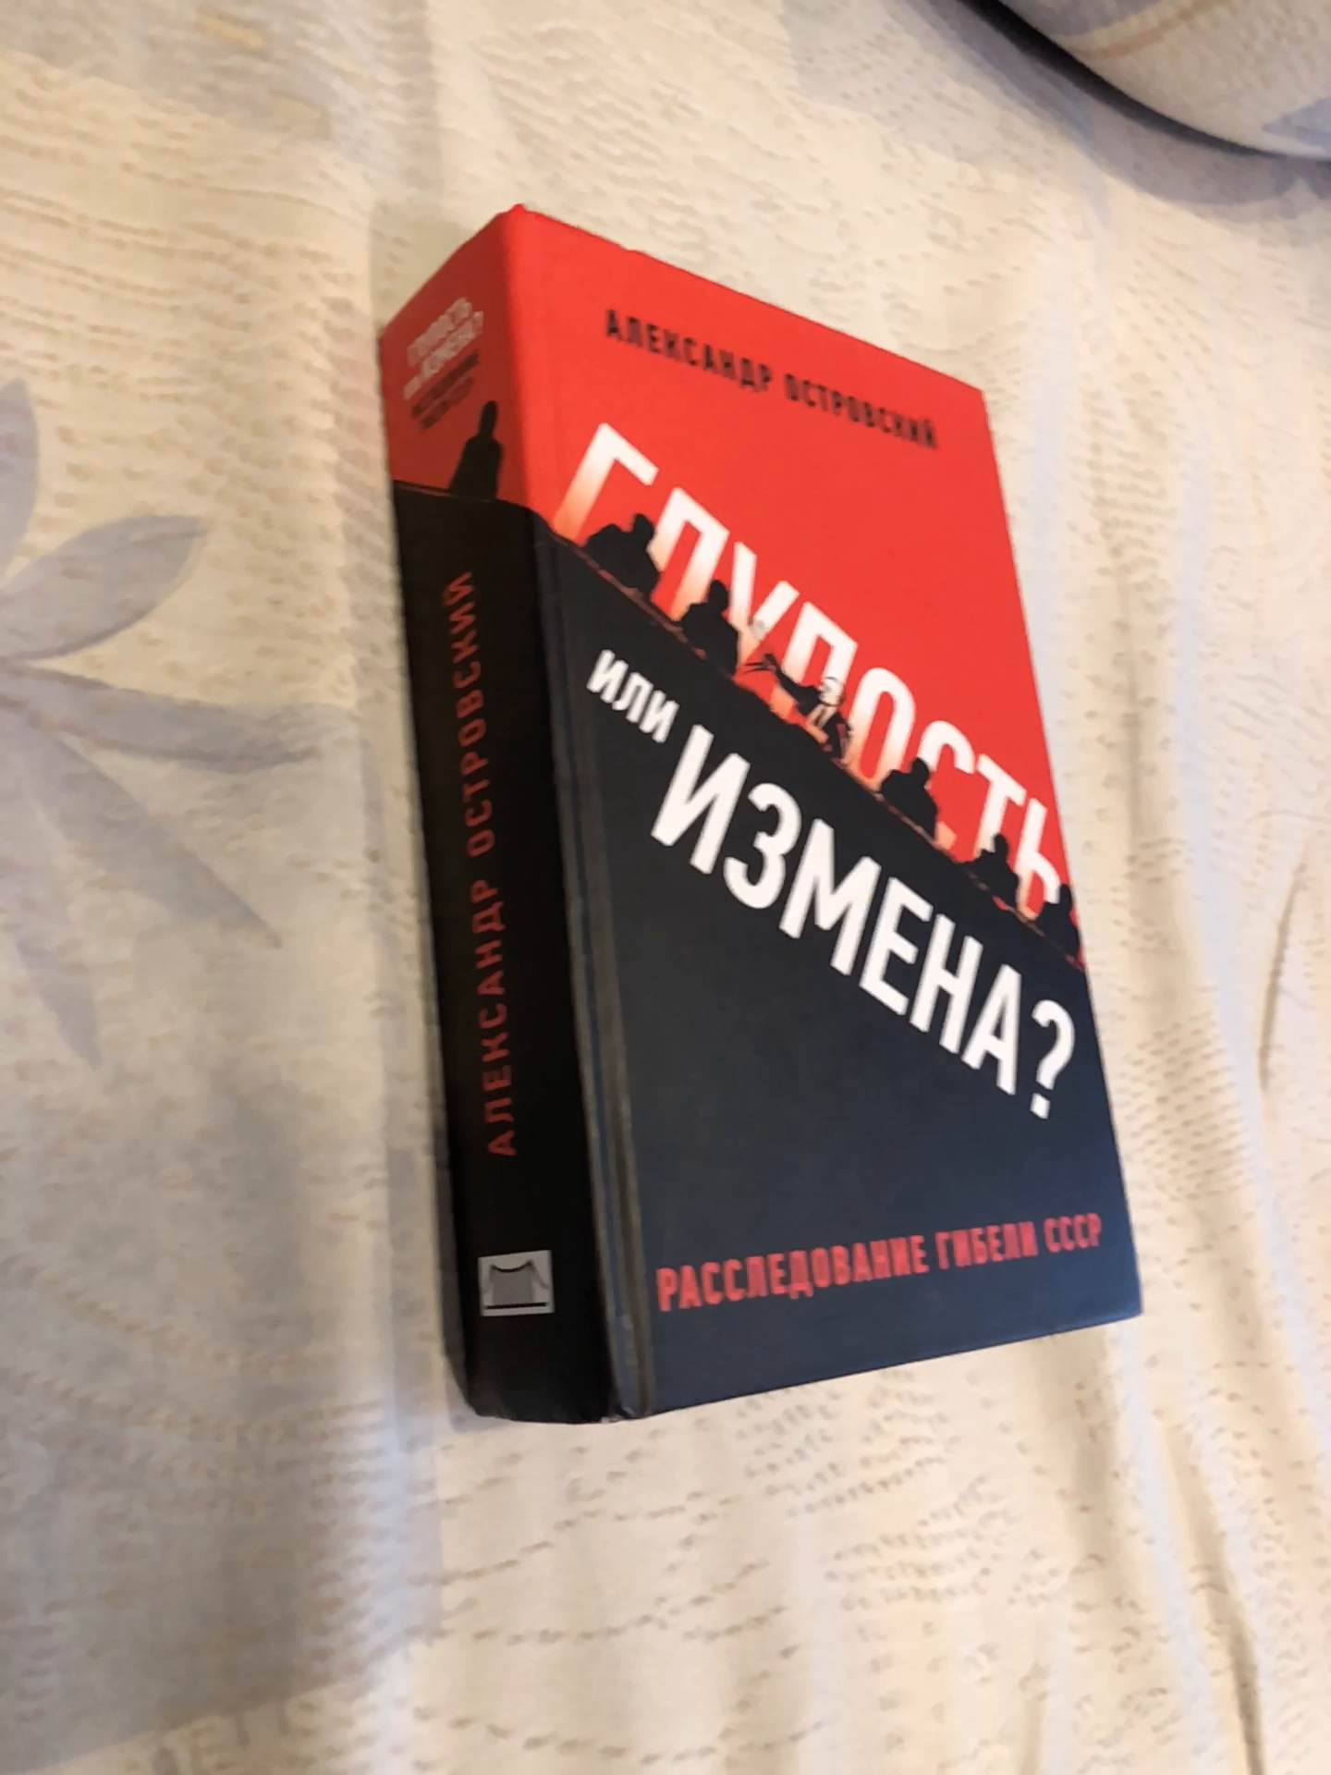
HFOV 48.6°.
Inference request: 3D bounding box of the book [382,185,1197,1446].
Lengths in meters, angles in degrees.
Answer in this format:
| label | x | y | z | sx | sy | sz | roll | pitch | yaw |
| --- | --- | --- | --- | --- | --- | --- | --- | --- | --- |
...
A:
| label | x | y | z | sx | sy | sz | roll | pitch | yaw |
| --- | --- | --- | --- | --- | --- | --- | --- | --- | --- |
| book | 0.024 | -0.011 | 0.284 | 0.136 | 0.050 | 0.200 | 5 | 73 | -39 |
